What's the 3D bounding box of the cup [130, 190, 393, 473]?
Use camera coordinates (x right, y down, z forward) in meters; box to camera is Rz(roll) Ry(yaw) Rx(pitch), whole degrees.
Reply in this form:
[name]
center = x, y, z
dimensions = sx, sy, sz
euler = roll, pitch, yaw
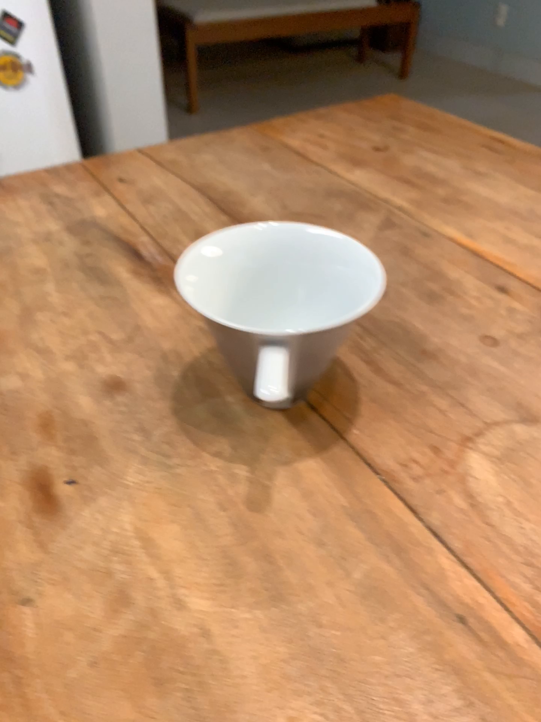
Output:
[cup]
center = 0.003, -0.021, 0.257
dimensions = 0.090, 0.060, 0.121
euler = 5, 41, 5
